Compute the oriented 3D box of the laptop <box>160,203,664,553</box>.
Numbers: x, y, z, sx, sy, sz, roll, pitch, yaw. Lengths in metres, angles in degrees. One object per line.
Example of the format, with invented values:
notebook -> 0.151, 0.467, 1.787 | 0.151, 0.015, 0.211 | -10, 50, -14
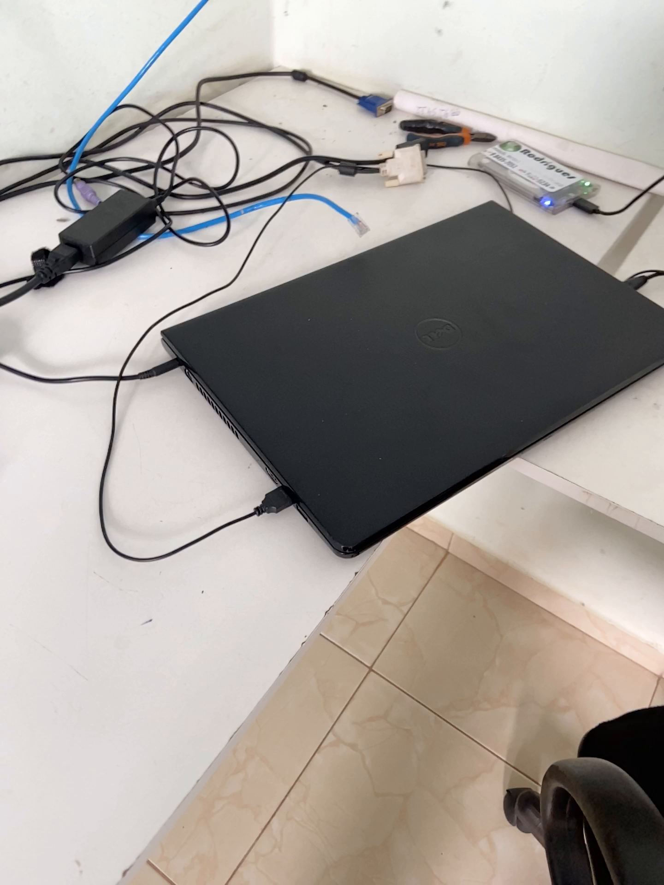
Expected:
laptop -> 0.084, -0.092, 0.571 | 0.377, 0.003, 0.260 | -27, 54, -25
